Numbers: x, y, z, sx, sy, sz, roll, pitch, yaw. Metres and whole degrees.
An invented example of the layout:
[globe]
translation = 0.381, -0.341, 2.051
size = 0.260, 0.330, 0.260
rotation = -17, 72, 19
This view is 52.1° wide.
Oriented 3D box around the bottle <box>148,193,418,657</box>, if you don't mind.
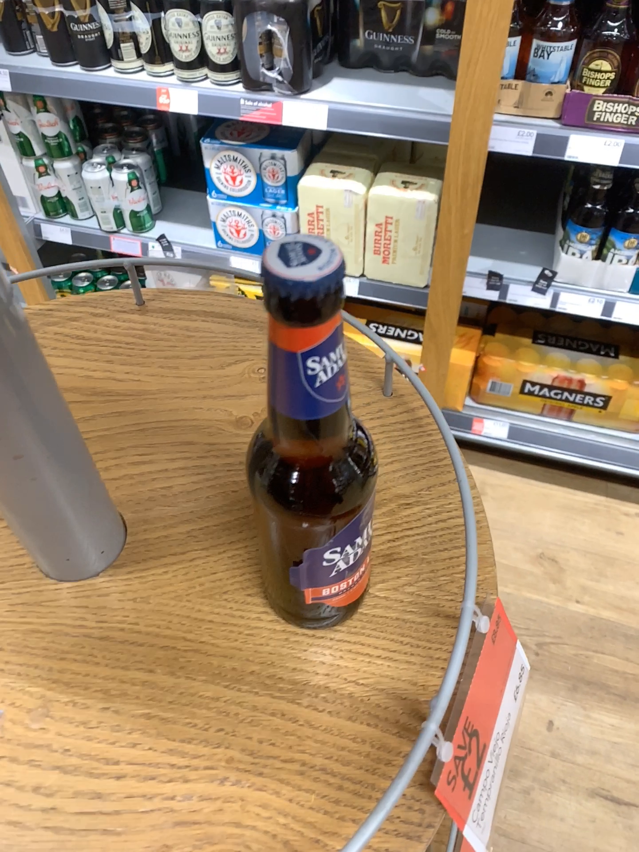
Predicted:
[bottle]
translation = -0.007, 0.018, 0.284
size = 0.061, 0.211, 0.063
rotation = -1, 49, 1
